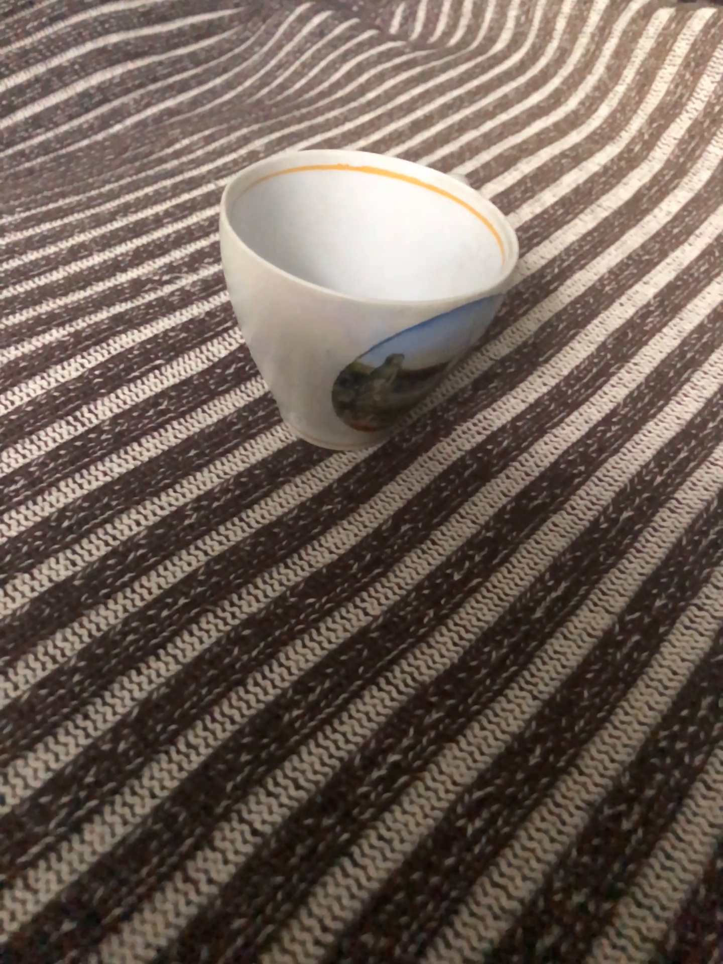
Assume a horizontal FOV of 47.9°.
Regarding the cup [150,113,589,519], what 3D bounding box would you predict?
[{"bbox_3d":[0.003,-0.043,0.188,0.061,0.041,0.079,32,48,16],"label":"cup"}]
